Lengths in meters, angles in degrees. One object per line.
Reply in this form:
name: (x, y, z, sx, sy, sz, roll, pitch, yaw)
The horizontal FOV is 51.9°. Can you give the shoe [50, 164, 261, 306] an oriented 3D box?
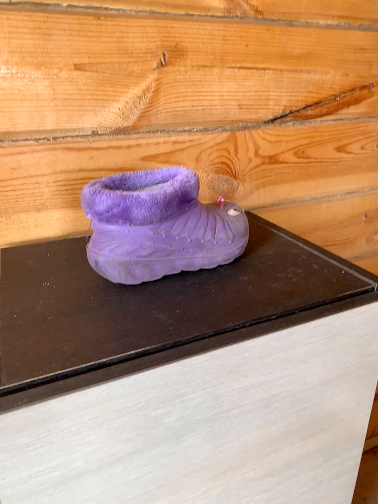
shoe: (-0.032, -0.030, 0.422, 0.200, 0.099, 0.090, -12, 24, -25)
